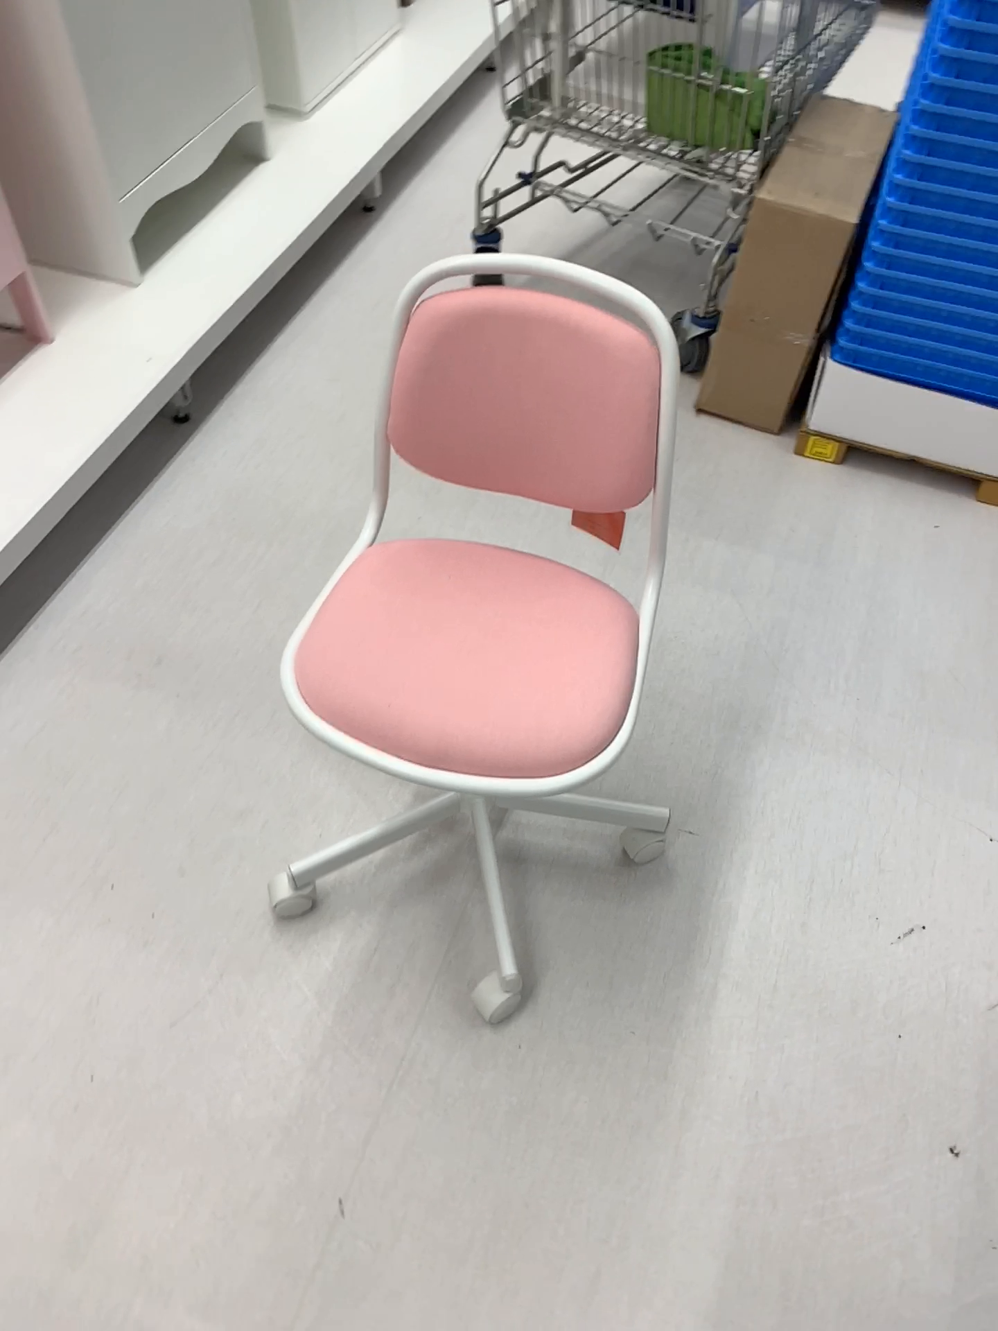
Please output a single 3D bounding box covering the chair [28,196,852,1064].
[{"bbox_3d":[-0.015,-0.014,1.144,0.560,0.698,0.531,15,52,10],"label":"chair"}]
